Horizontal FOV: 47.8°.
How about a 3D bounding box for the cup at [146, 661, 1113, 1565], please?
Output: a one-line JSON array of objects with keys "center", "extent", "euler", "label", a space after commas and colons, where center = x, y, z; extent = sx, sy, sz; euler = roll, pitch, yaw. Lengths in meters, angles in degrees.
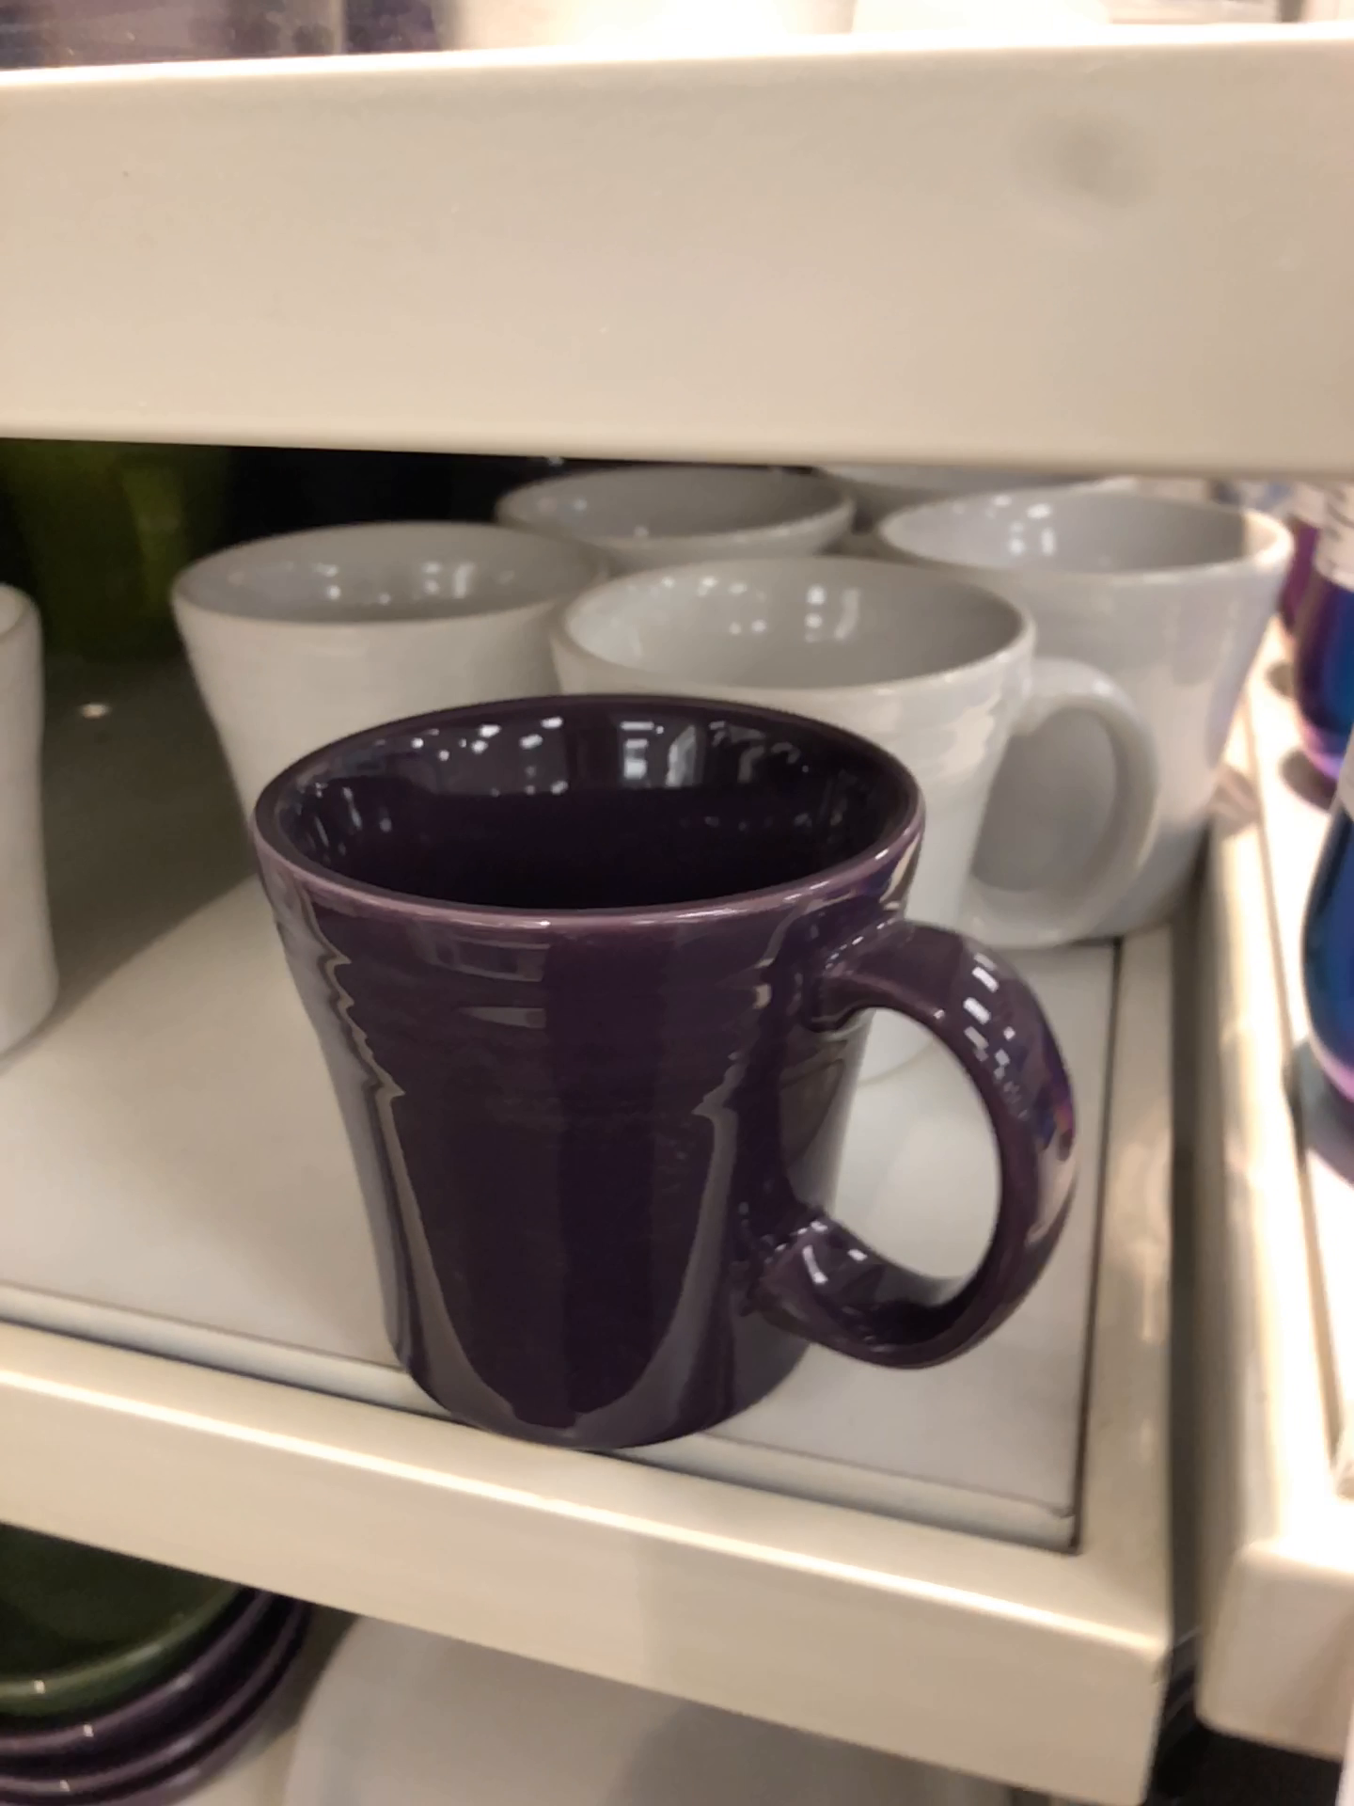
[{"center": [0.000, 0.026, 0.257], "extent": [0.127, 0.099, 0.090], "euler": [7, 28, 15], "label": "cup"}]
